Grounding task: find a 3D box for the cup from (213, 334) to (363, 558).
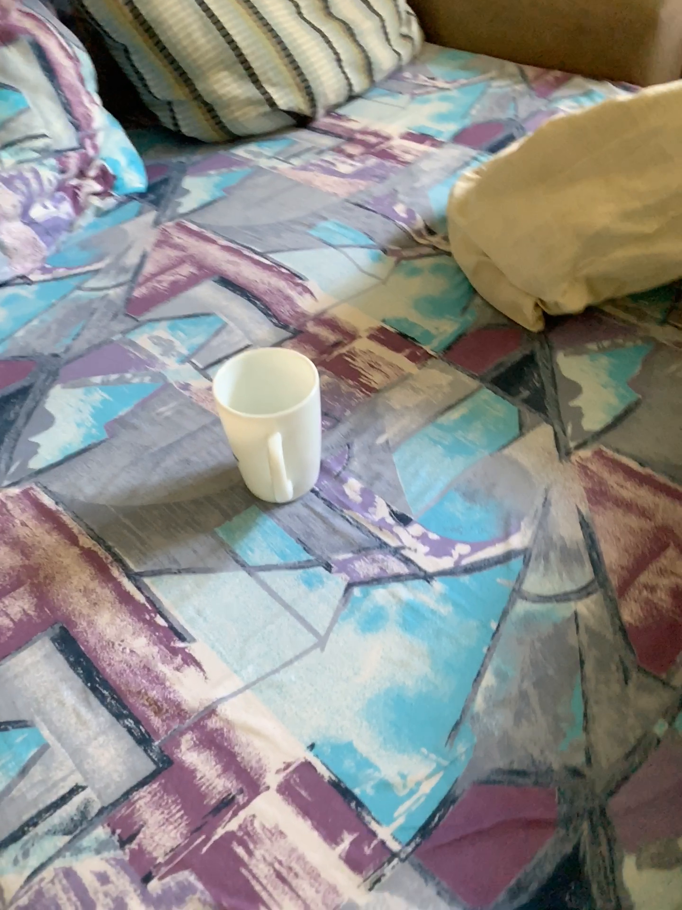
[{"bbox_3d":[-0.040,-0.009,0.525,0.080,0.099,0.121,-13,47,-7],"label":"cup"}]
